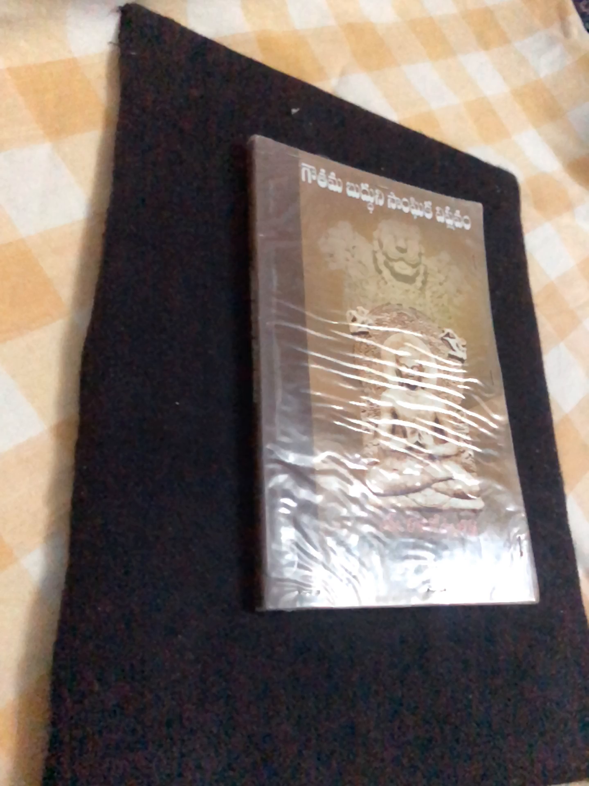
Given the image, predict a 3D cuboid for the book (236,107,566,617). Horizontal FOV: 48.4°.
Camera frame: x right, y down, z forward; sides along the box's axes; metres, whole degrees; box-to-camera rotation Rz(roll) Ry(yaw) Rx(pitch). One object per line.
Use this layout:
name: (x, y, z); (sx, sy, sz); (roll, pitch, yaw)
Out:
book: (0.046, -0.016, 0.312); (0.151, 0.020, 0.230); (10, 63, -28)
